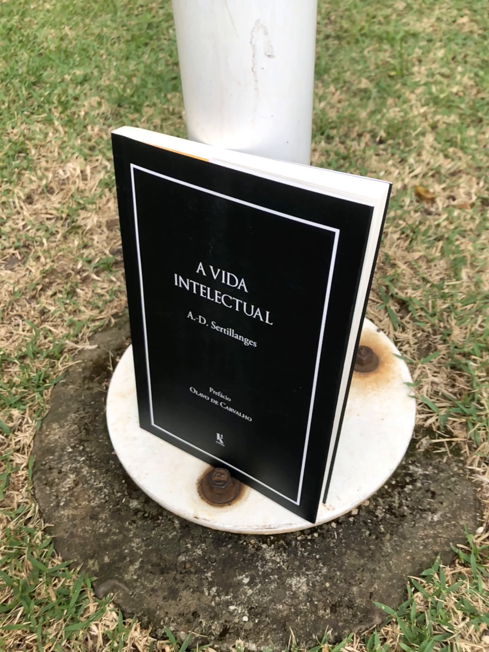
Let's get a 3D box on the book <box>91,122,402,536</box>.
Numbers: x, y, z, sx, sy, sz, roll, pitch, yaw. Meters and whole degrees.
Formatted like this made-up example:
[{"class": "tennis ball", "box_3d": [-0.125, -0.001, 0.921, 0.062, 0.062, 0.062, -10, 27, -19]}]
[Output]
[{"class": "book", "box_3d": [-0.009, 0.008, 0.285, 0.141, 0.193, 0.025, 23, 40, 26]}]
